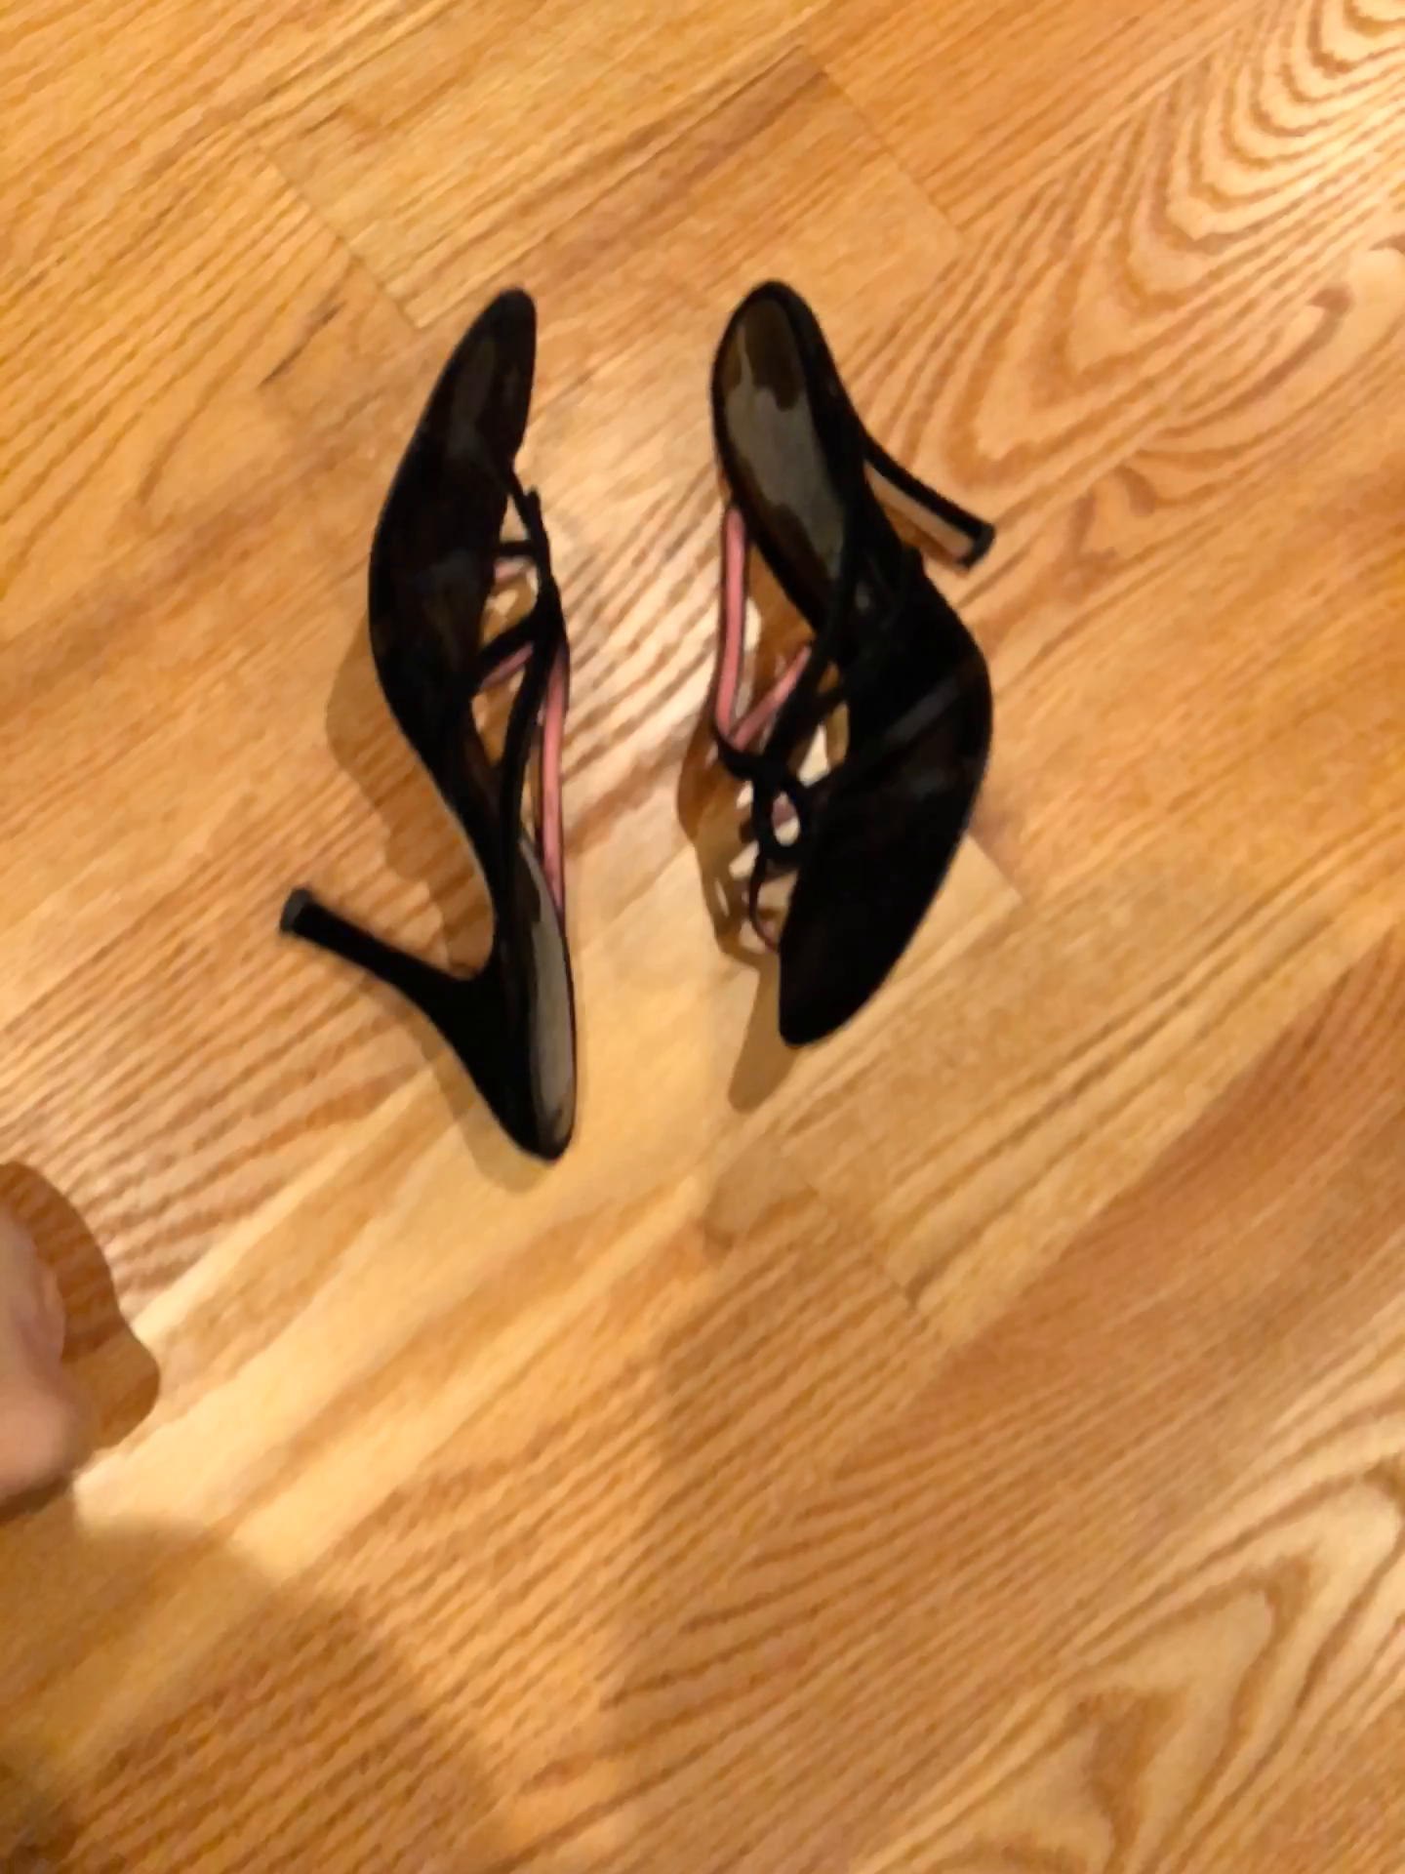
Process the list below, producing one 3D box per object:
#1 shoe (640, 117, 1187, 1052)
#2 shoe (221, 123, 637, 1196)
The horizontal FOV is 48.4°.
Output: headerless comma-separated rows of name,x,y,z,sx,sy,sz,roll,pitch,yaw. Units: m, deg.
shoe,0.046,-0.082,0.414,0.102,0.104,0.215,-3,84,-9
shoe,-0.070,-0.059,0.393,0.082,0.104,0.235,-2,84,-11
